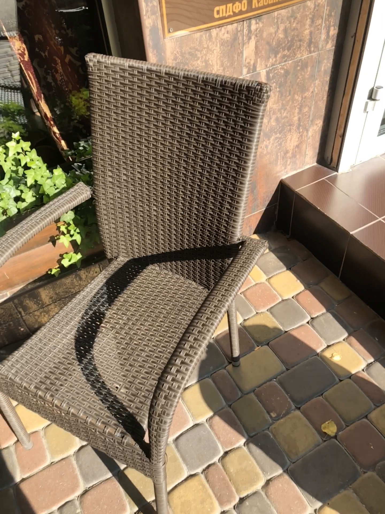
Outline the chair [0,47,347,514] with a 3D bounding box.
[{"bbox_3d":[-0.108,0.113,1.057,0.611,0.906,0.722,19,50,23],"label":"chair"}]
